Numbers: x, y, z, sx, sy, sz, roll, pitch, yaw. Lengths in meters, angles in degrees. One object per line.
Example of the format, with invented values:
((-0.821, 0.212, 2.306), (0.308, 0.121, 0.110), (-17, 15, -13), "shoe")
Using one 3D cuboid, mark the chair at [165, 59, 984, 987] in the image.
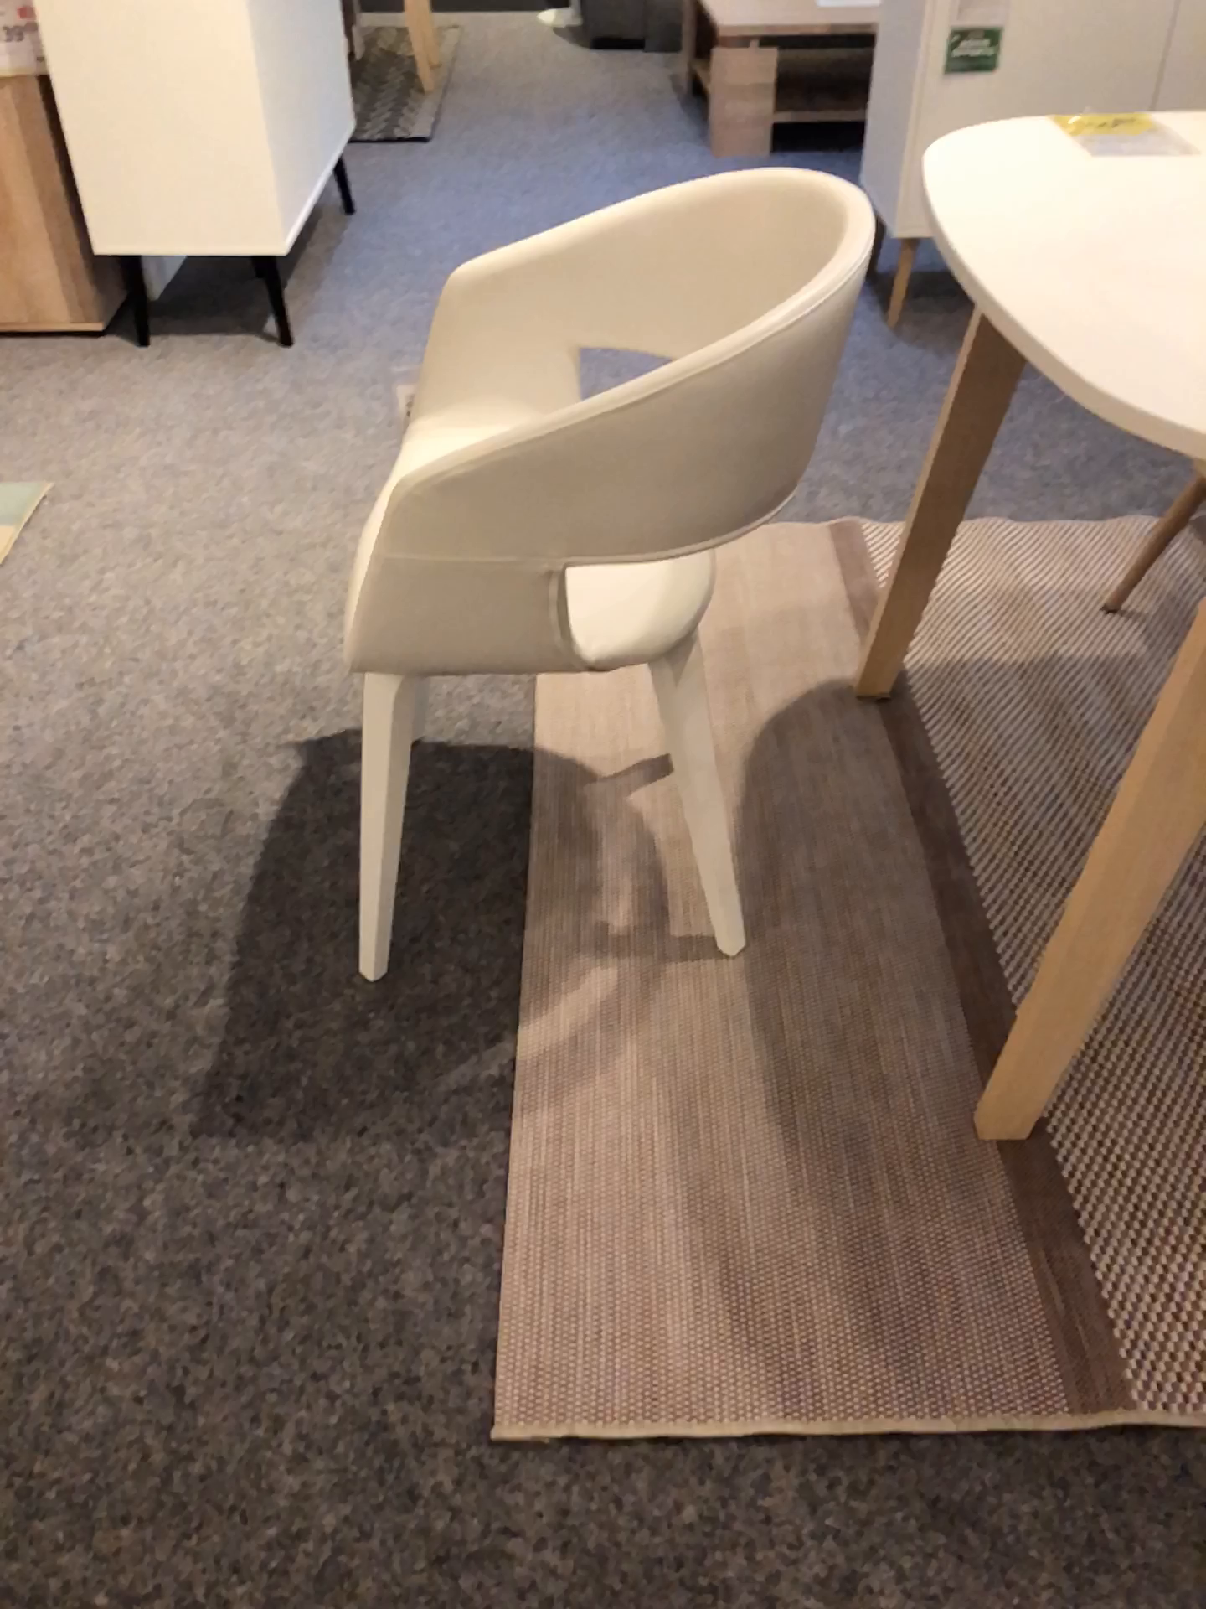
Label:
((-0.021, -0.276, 1.359), (0.560, 0.755, 0.553), (-1, 42, -1), "chair")
